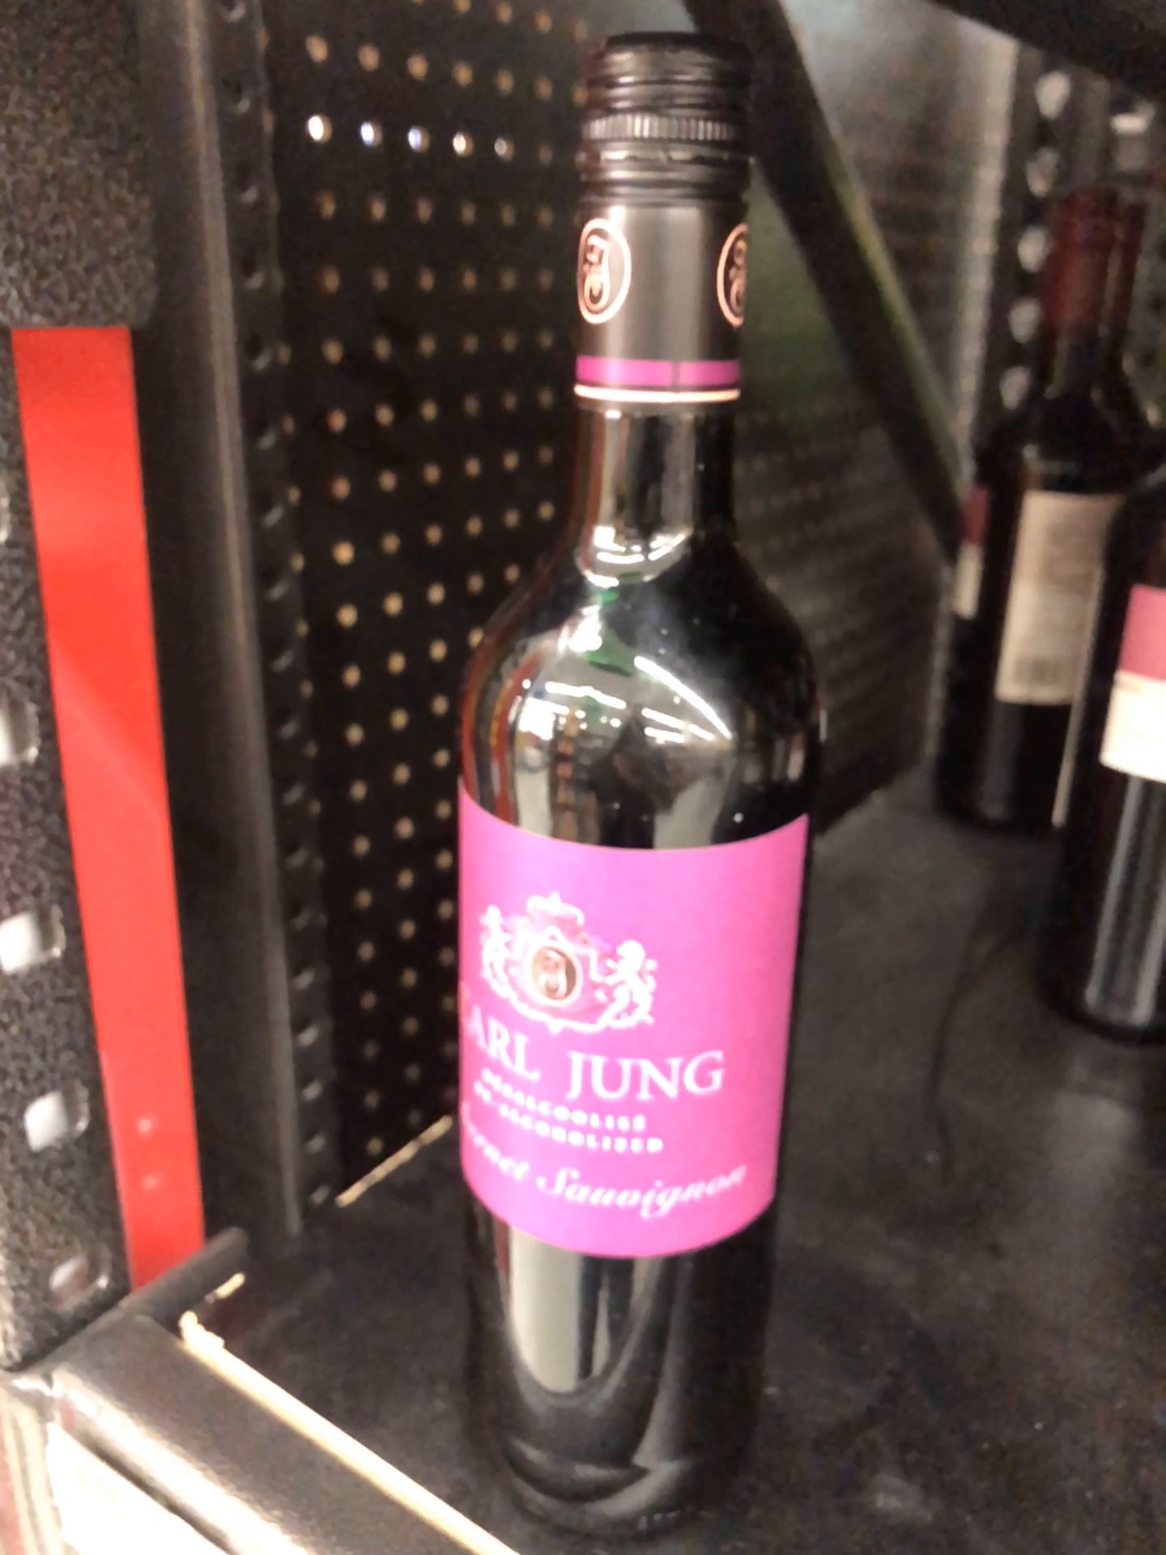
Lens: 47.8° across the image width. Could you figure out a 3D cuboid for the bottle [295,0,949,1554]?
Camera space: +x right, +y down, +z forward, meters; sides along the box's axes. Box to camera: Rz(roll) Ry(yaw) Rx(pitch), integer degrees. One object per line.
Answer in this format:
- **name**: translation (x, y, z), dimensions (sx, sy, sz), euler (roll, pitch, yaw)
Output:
- **bottle**: translation (0.009, 0.018, 0.263), dimensions (0.080, 0.288, 0.080), euler (1, 21, 0)
